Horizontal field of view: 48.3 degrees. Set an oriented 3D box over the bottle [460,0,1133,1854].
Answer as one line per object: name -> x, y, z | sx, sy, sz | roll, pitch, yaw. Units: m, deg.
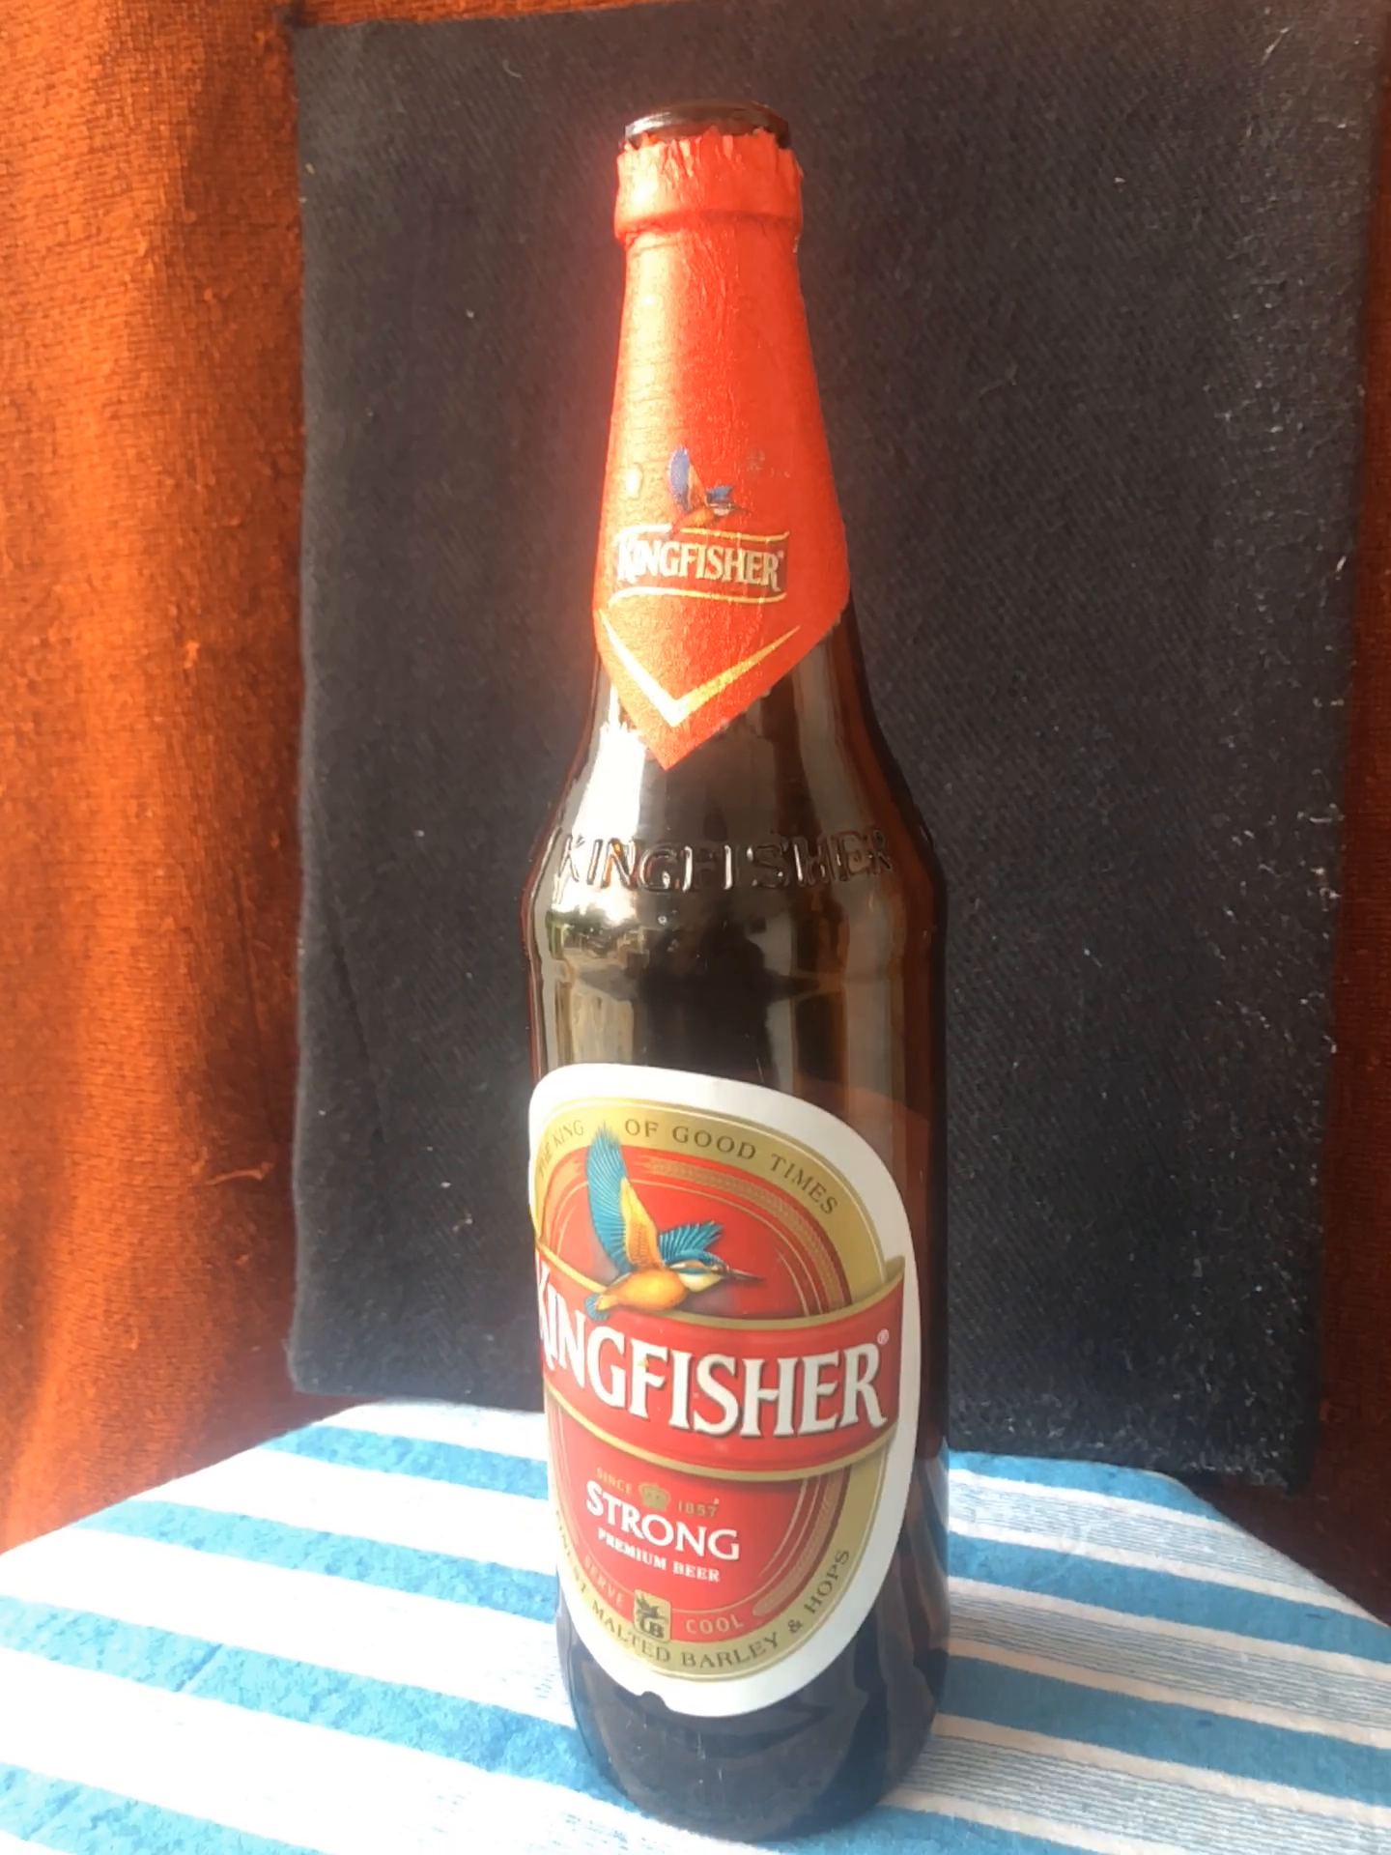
bottle -> 0.019, 0.009, 0.264 | 0.080, 0.289, 0.070 | 6, 15, 23
